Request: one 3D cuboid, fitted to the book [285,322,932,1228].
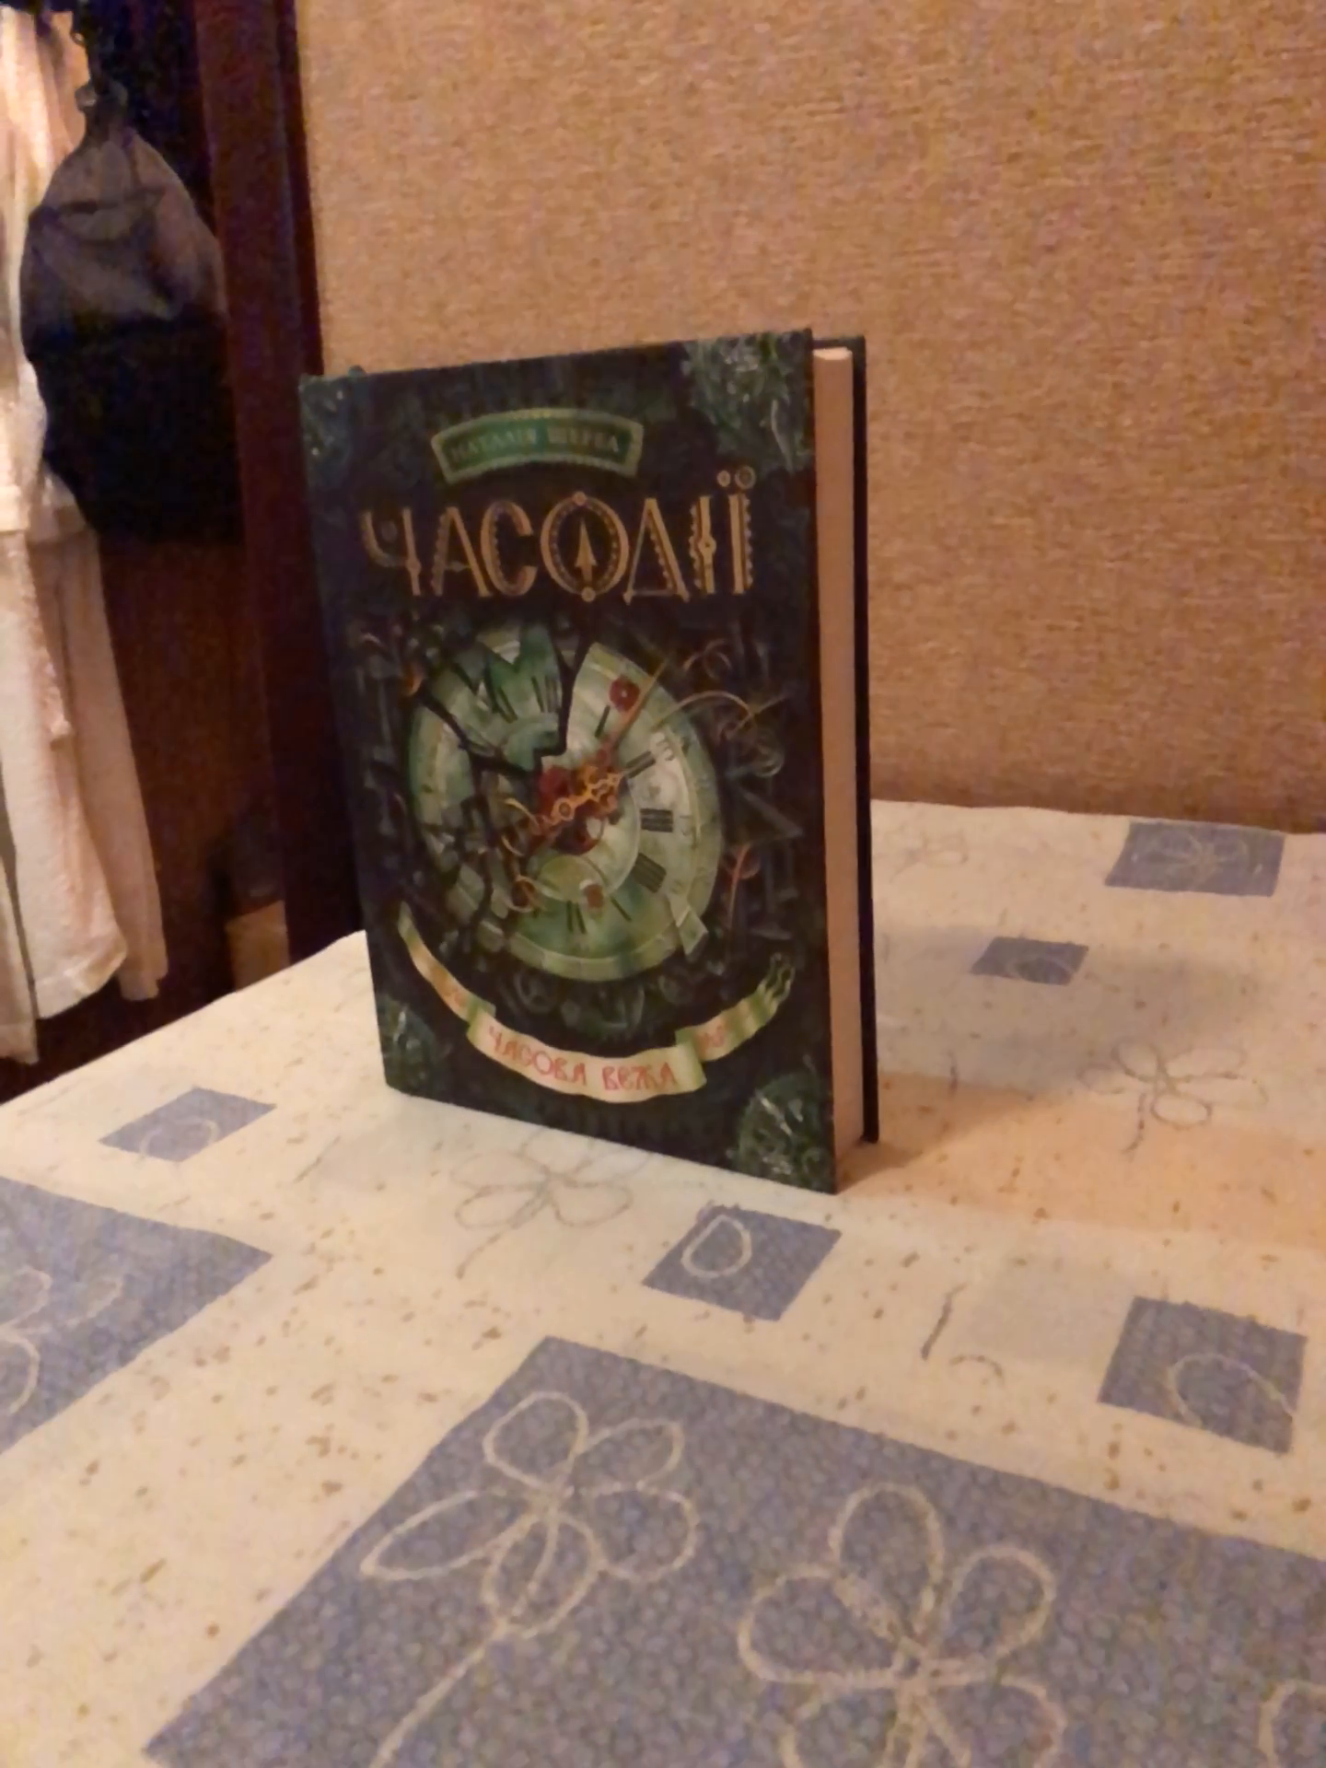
[{"bbox_3d":[-0.018,-0.034,0.401,0.173,0.216,0.040,9,19,31],"label":"book"}]
